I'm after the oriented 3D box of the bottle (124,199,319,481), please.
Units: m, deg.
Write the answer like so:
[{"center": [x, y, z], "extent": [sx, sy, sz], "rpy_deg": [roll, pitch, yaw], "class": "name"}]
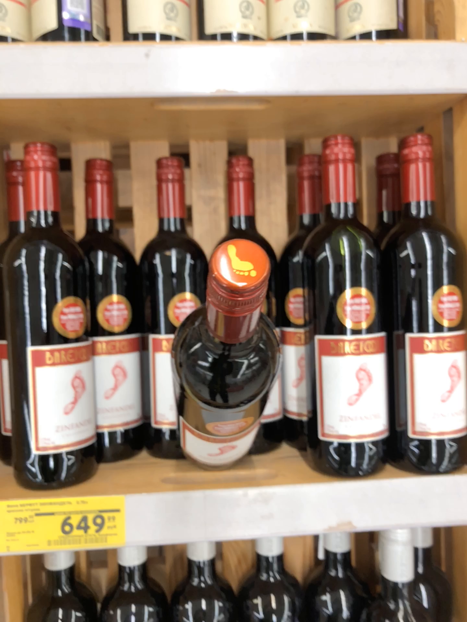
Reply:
[{"center": [-0.013, 0.049, 0.361], "extent": [0.080, 0.289, 0.080], "rpy_deg": [1, 63, -2], "class": "bottle"}]
